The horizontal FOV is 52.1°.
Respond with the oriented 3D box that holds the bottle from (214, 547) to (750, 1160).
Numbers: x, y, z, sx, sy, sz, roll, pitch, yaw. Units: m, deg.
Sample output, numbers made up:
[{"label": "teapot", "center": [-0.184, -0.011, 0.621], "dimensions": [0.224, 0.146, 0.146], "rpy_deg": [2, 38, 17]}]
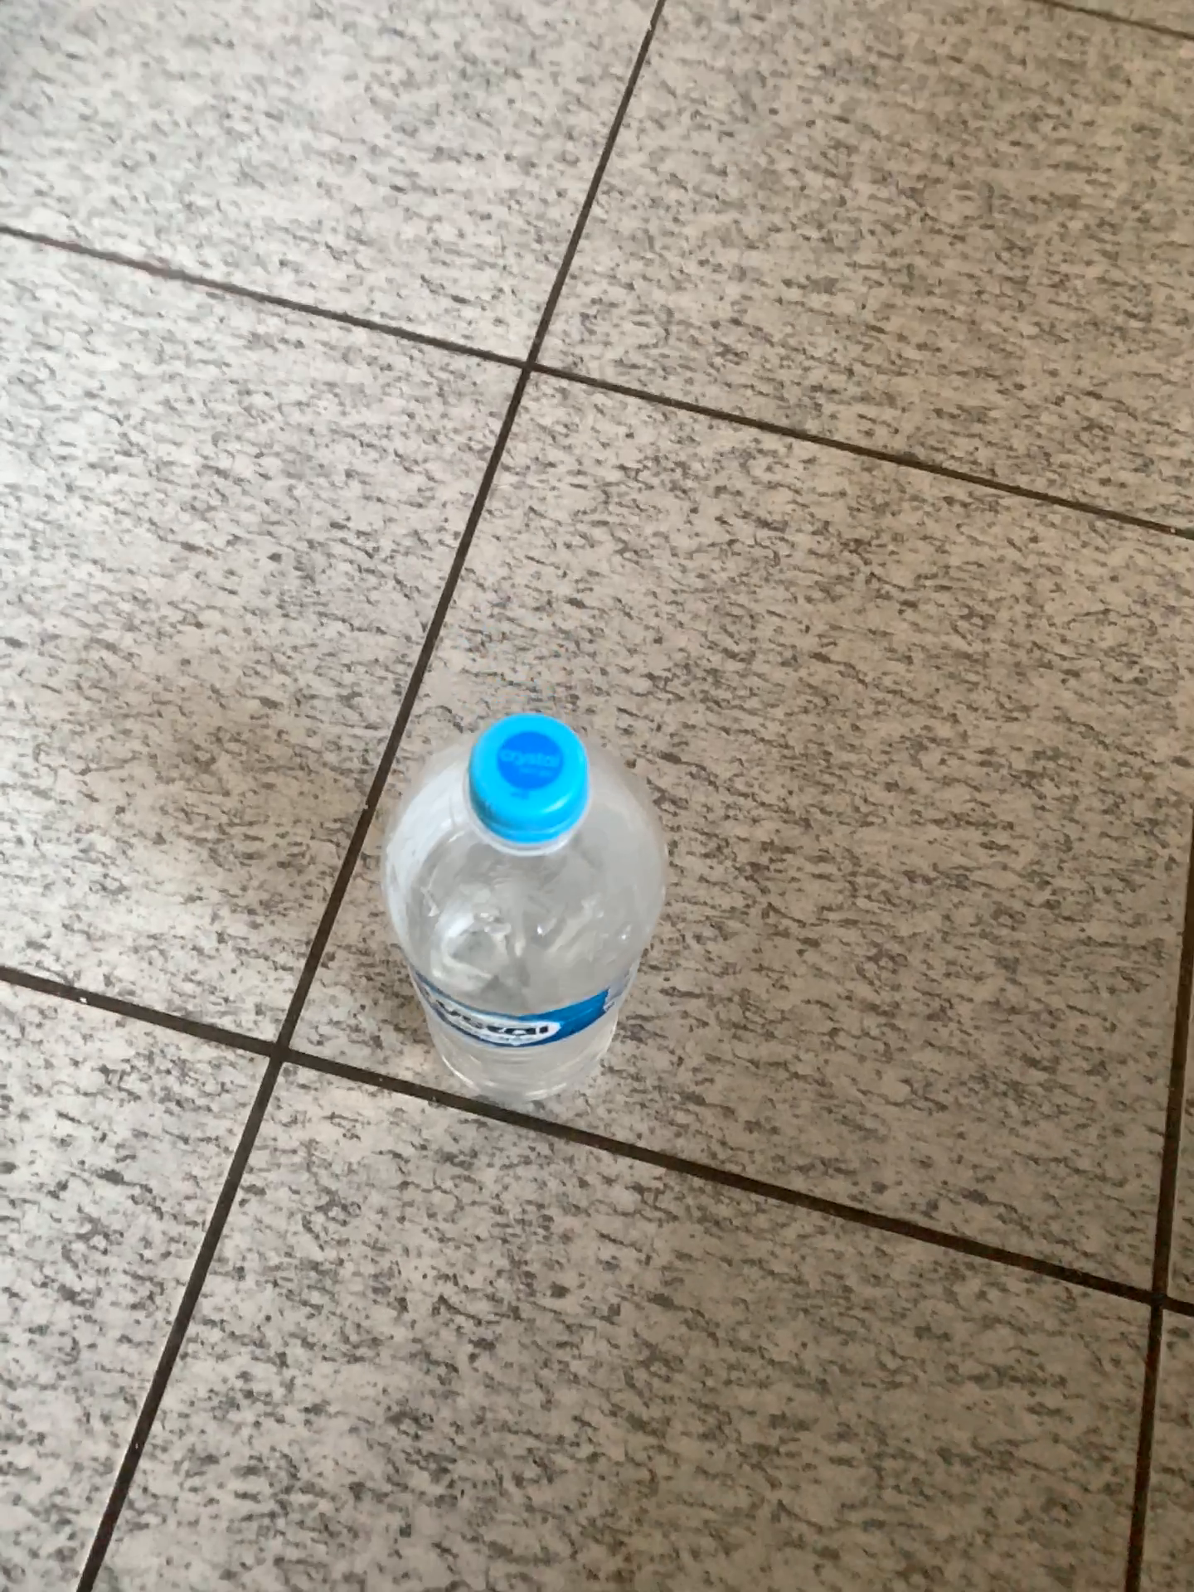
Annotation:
[{"label": "bottle", "center": [-0.033, 0.050, 0.425], "dimensions": [0.090, 0.299, 0.090], "rpy_deg": [1, 69, -3]}]
